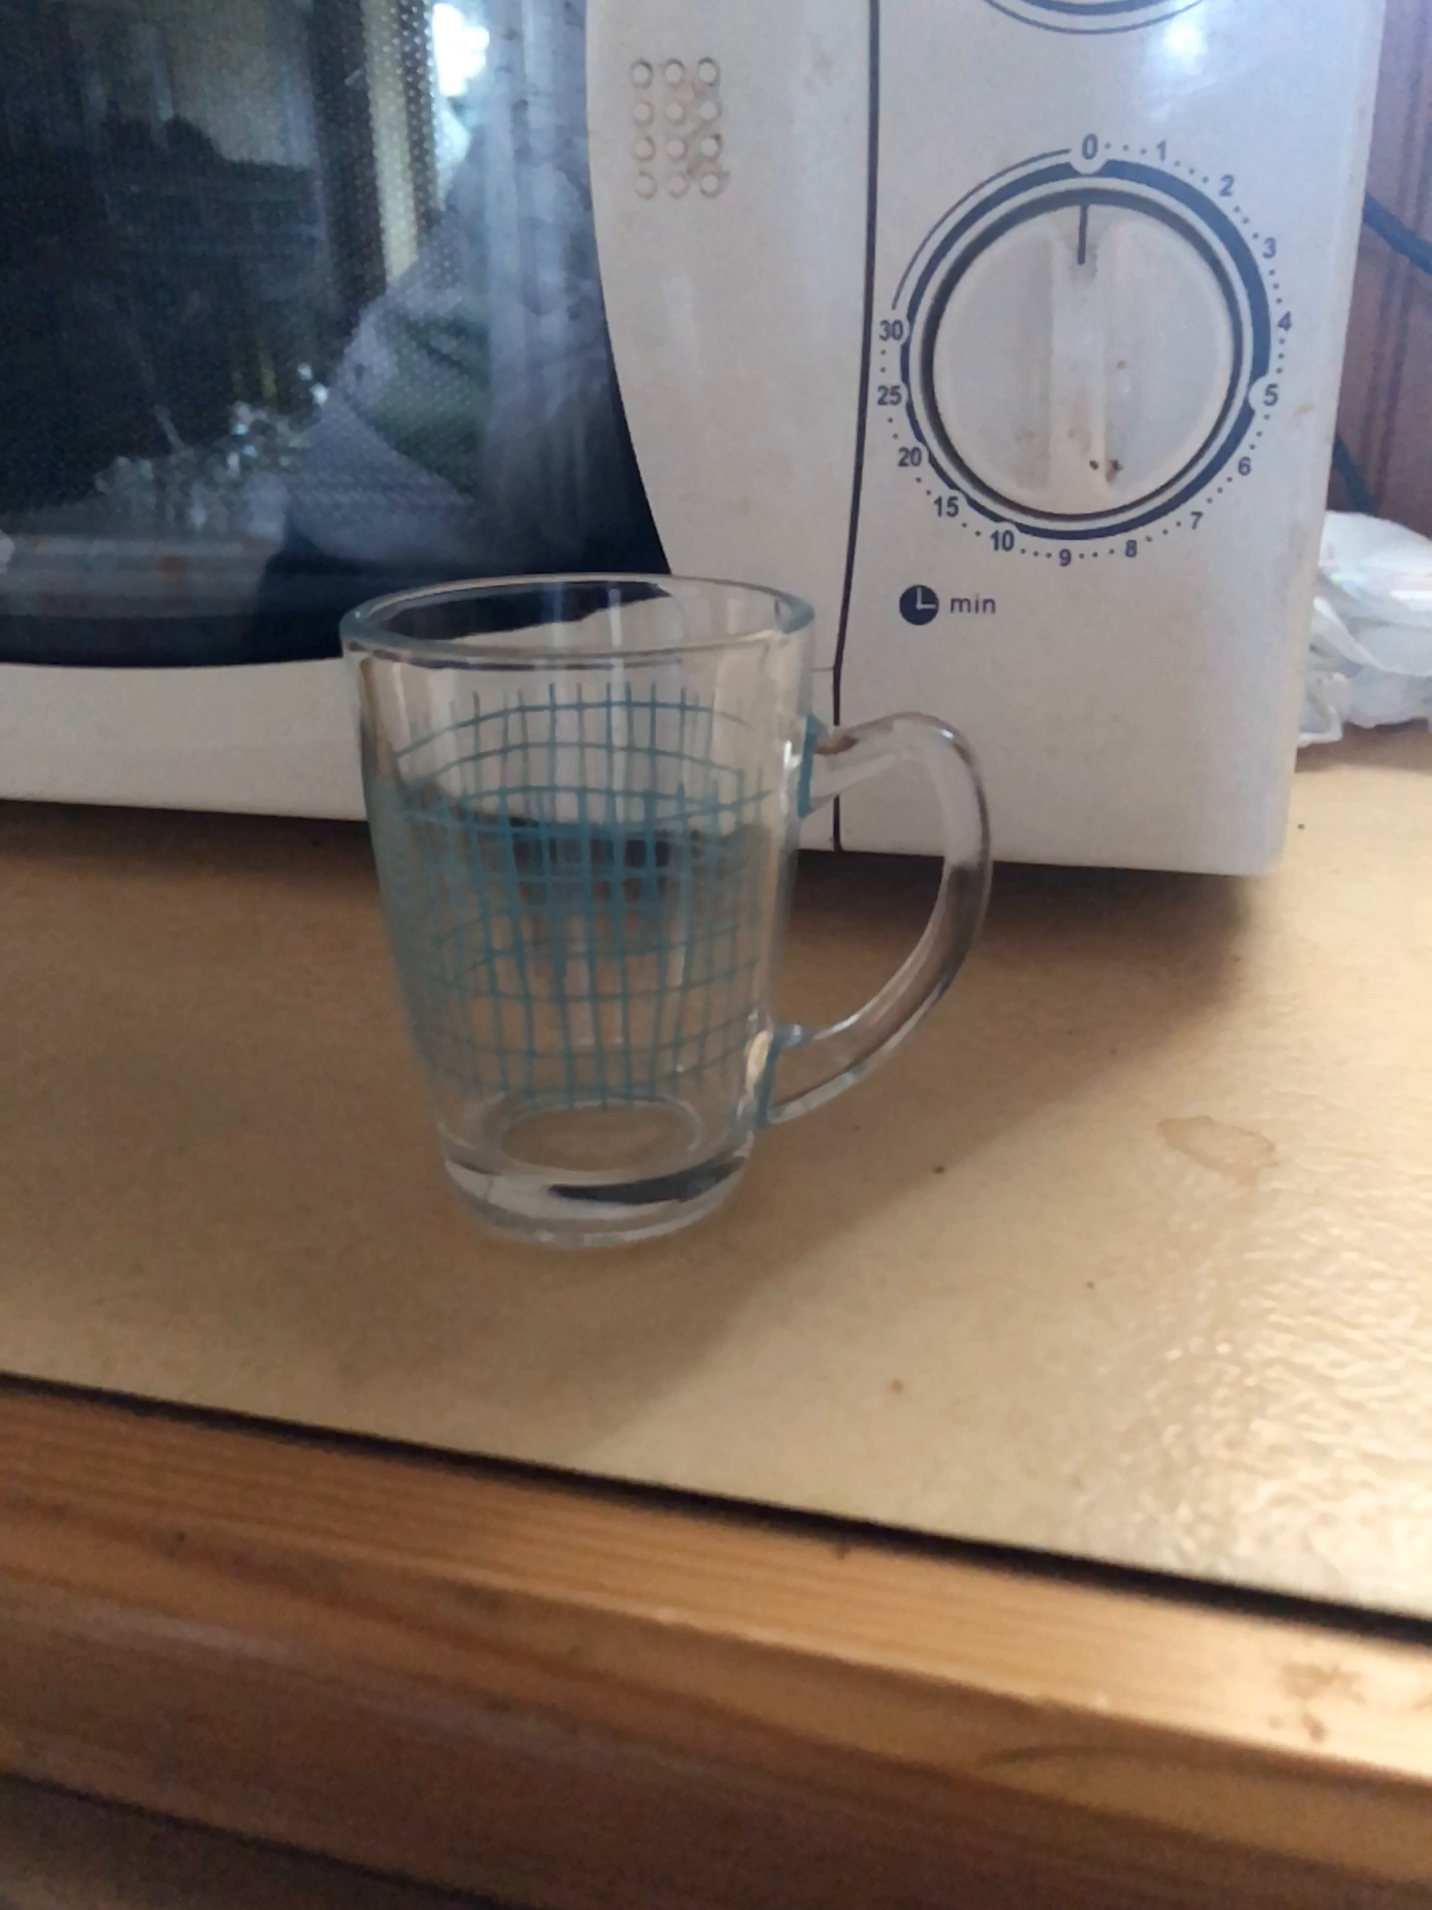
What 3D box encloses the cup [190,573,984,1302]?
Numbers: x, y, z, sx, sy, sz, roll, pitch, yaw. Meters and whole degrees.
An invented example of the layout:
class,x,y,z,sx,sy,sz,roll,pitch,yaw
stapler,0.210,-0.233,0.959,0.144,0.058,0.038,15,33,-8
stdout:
class,x,y,z,sx,sy,sz,roll,pitch,yaw
cup,-0.010,-0.007,0.202,0.080,0.070,0.060,4,23,12
